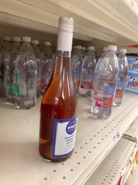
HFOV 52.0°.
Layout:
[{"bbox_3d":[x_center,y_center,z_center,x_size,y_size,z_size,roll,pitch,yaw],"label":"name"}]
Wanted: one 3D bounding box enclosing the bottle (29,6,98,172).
[{"bbox_3d":[-0.021,0.001,0.305,0.080,0.299,0.090,20,21,39],"label":"bottle"}]
